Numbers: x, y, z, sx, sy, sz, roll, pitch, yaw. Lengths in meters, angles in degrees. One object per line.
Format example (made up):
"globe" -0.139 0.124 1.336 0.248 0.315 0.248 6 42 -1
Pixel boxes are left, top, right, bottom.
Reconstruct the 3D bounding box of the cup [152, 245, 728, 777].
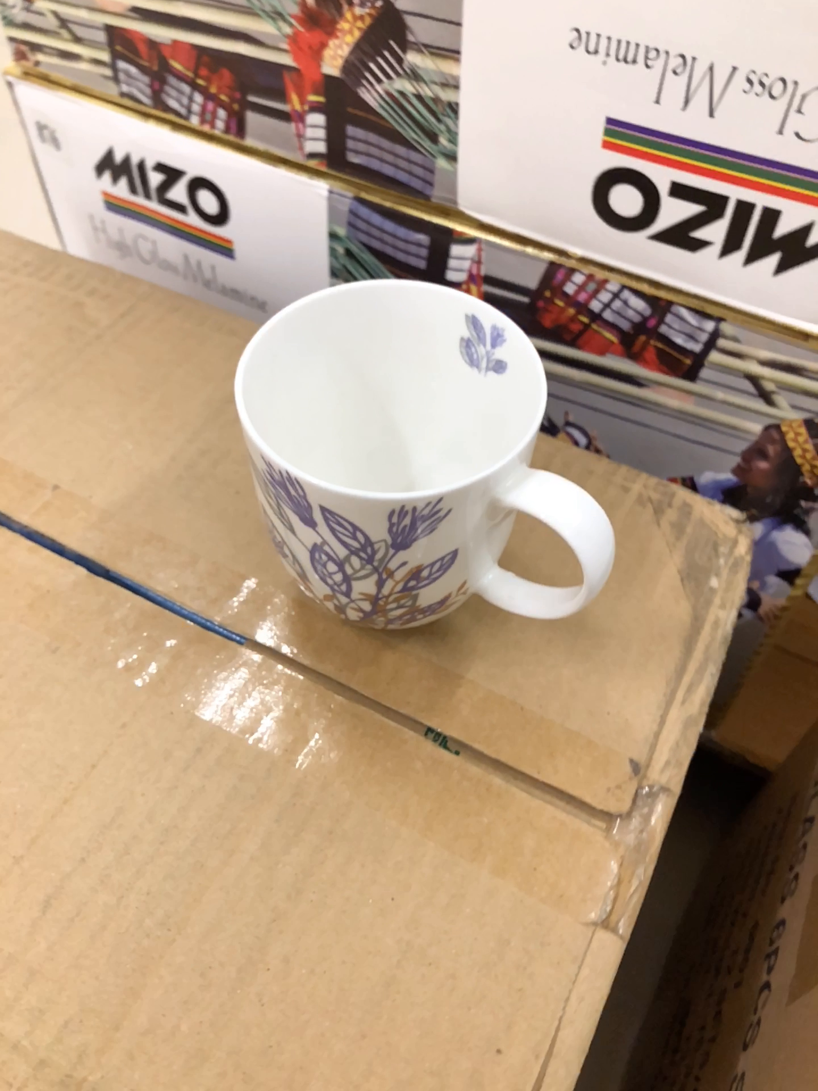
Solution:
"cup" 0.009 -0.015 0.264 0.120 0.070 0.091 27 56 18
